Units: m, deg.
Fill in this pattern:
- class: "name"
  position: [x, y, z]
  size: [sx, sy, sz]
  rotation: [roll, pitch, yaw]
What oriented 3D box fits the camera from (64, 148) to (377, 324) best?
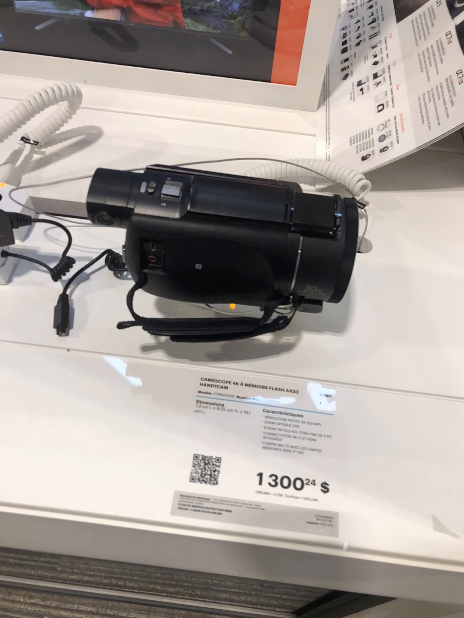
- class: "camera"
  position: [-0.005, -0.044, 0.317]
  size: [0.168, 0.066, 0.061]
  rotation: [7, 54, 1]
